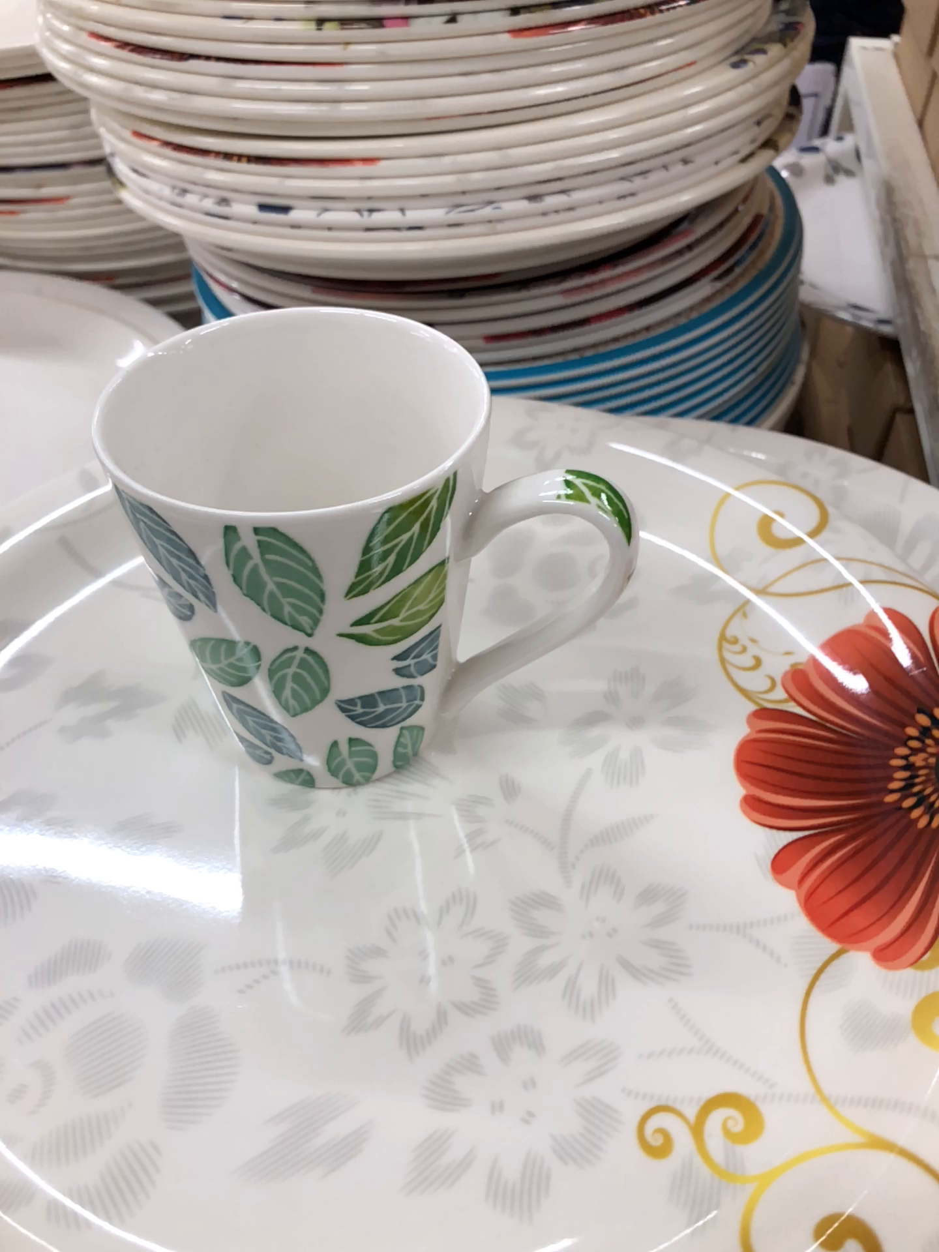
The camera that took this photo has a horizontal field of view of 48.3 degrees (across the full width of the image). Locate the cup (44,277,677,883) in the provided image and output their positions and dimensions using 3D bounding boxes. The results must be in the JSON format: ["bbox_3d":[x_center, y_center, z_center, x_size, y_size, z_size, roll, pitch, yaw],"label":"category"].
[{"bbox_3d":[-0.016,-0.010,0.267,0.120,0.119,0.081,6,45,7],"label":"cup"}]
